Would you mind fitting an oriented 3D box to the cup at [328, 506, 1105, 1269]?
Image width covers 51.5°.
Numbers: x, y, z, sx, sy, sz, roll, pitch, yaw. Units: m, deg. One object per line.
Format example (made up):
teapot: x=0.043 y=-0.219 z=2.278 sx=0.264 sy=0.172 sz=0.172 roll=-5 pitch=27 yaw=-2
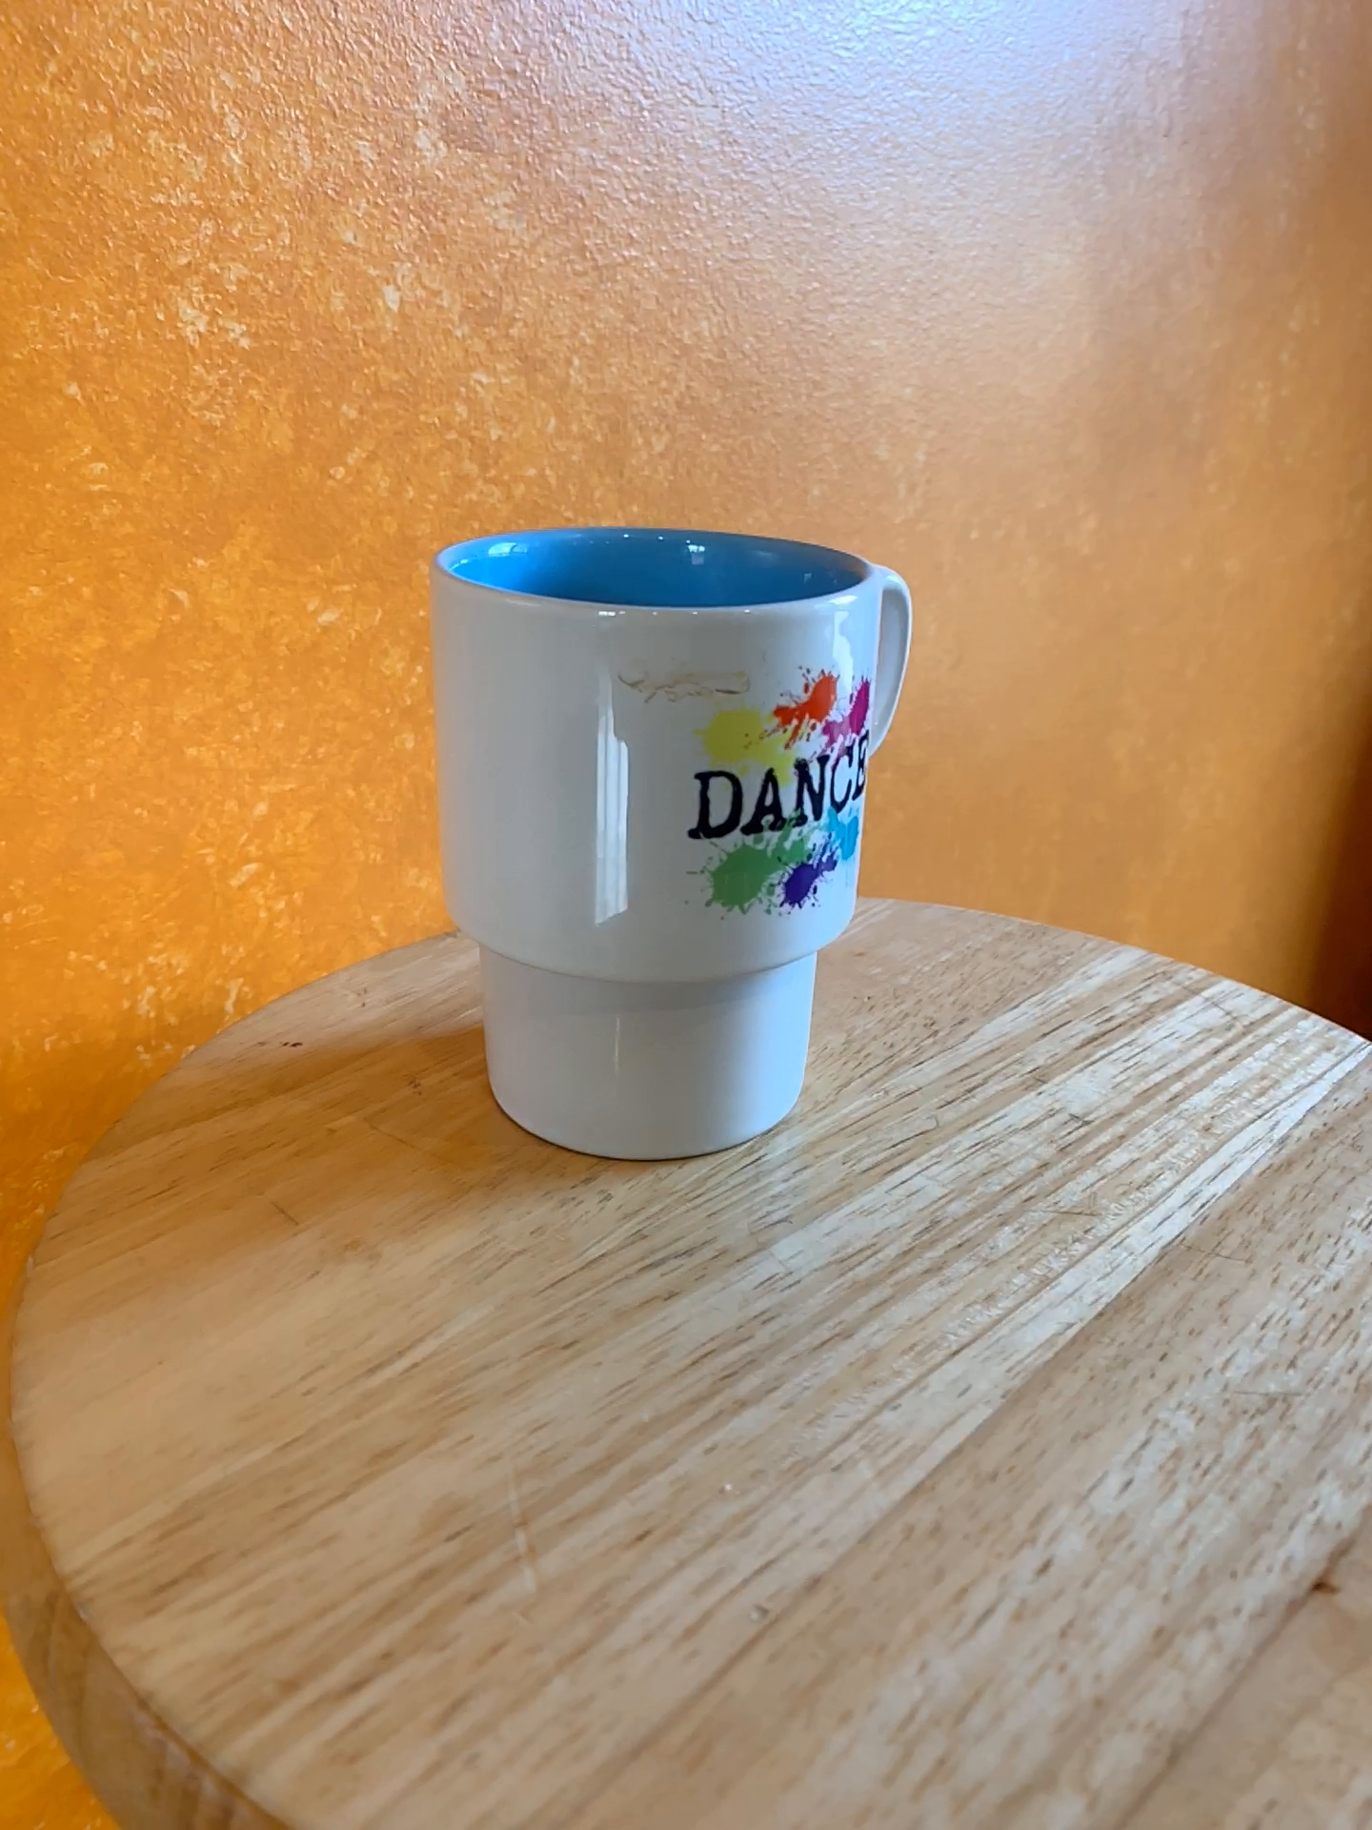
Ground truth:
cup: x=0.006 y=-0.017 z=0.283 sx=0.120 sy=0.109 sz=0.080 roll=-15 pitch=28 yaw=-35
